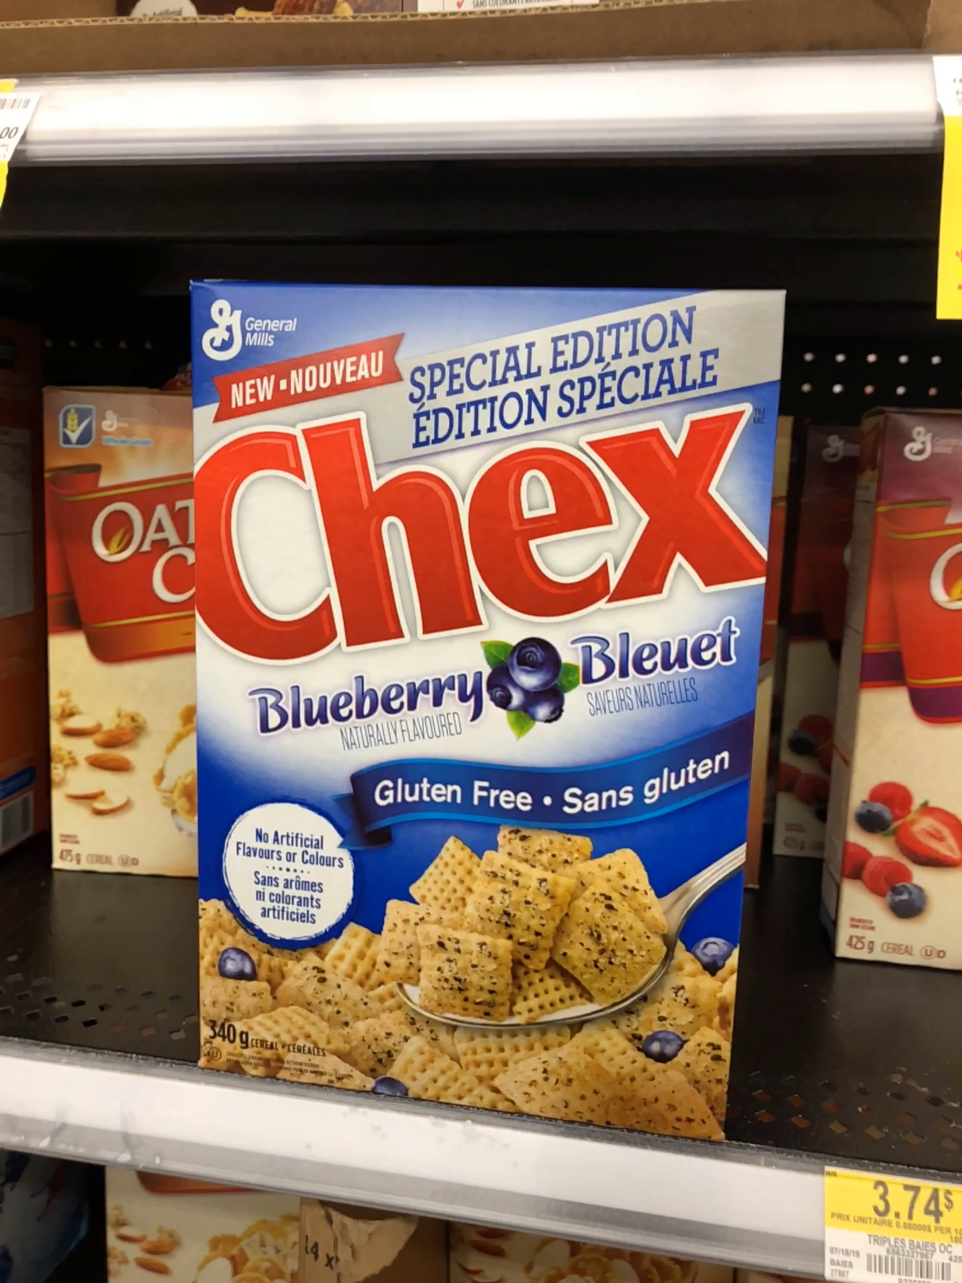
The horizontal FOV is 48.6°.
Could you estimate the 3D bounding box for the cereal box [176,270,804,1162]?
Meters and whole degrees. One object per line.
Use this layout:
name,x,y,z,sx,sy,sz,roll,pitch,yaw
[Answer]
cereal box,-0.002,0.022,0.386,0.200,0.289,0.060,4,9,10
